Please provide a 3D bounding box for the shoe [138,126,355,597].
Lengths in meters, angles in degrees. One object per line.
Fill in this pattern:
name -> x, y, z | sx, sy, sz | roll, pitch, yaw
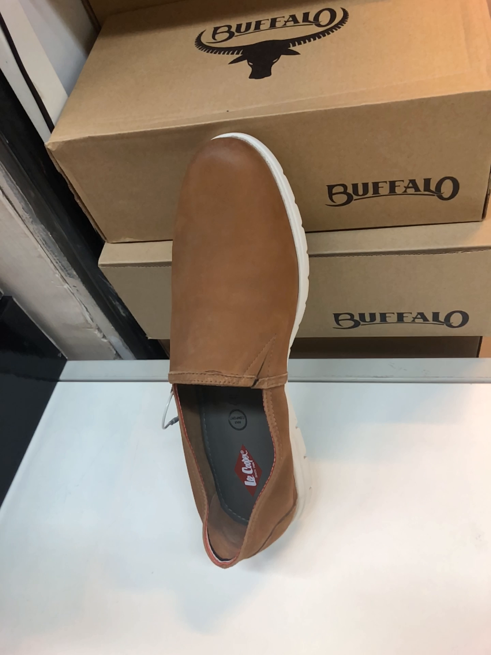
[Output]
shoe -> 0.015, 0.018, 0.438 | 0.113, 0.310, 0.149 | 2, 11, 24
